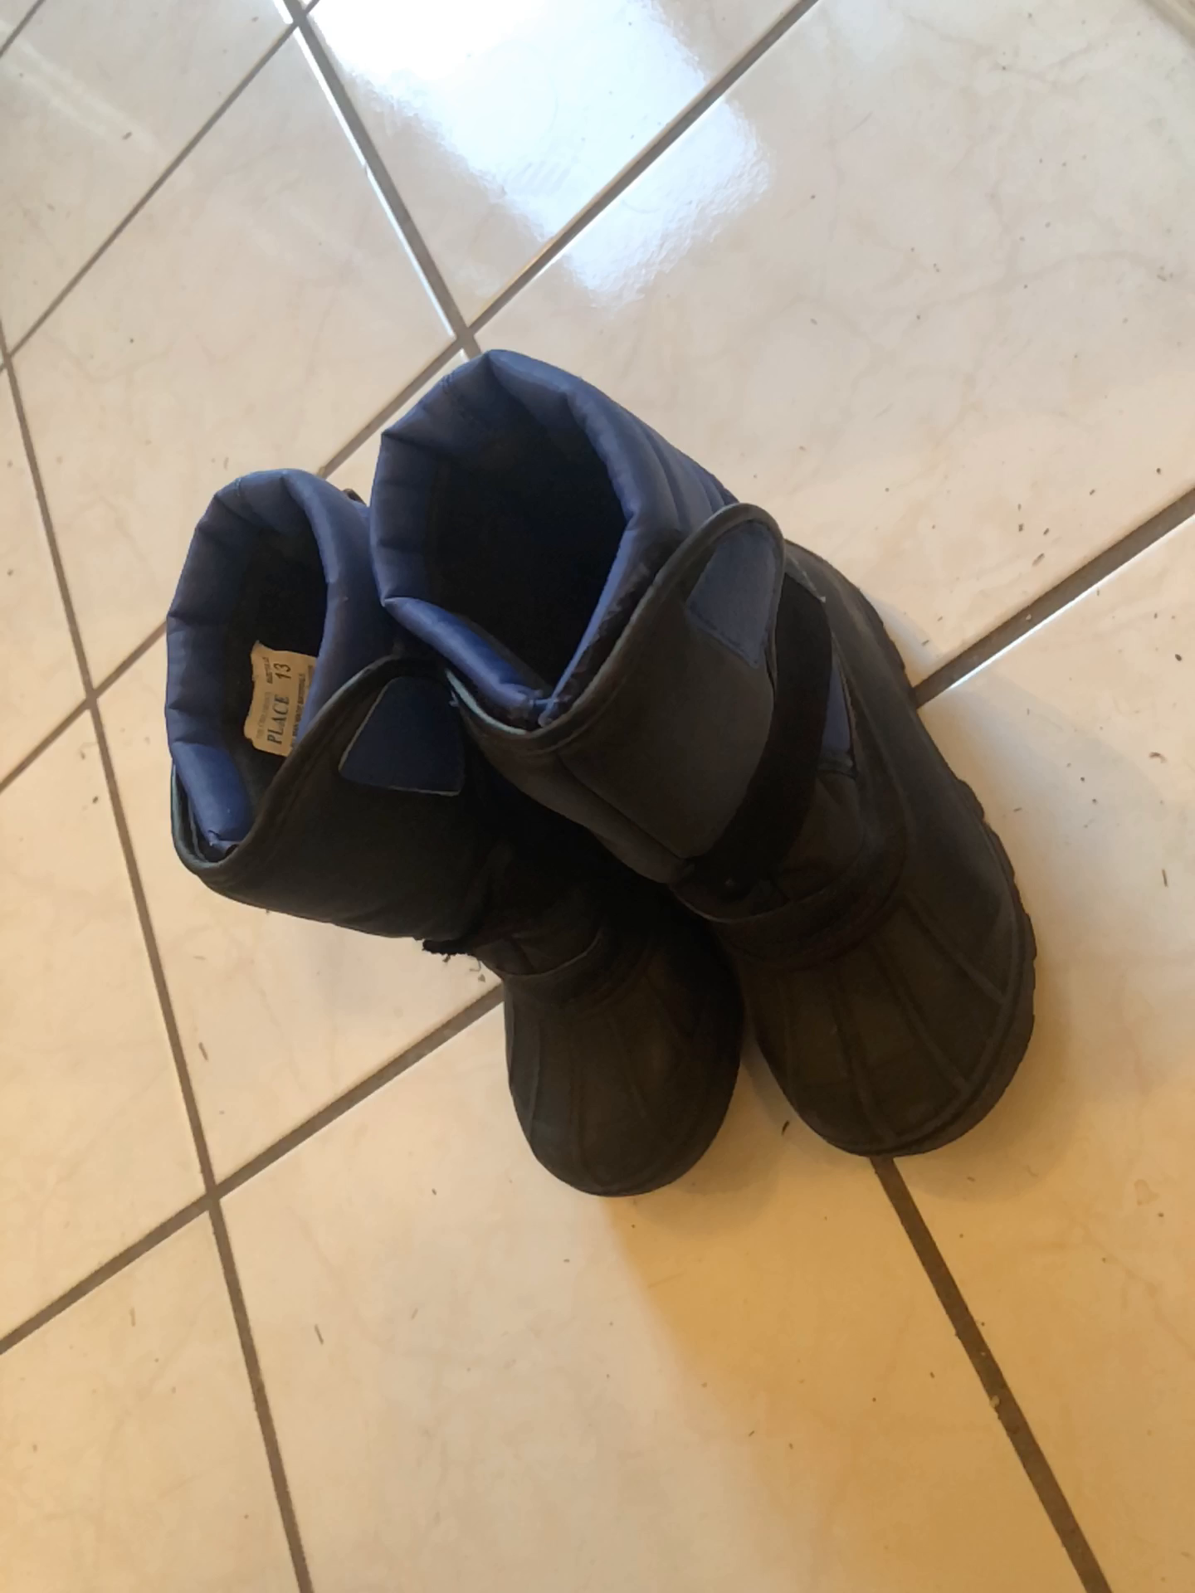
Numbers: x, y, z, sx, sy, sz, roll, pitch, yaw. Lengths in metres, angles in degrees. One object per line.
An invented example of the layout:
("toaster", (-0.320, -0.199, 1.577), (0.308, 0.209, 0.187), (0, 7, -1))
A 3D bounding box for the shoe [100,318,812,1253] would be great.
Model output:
("shoe", (-0.040, 0.014, 0.421), (0.100, 0.199, 0.231), (-20, 67, 30))

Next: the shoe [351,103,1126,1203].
("shoe", (0.044, -0.021, 0.388), (0.100, 0.199, 0.251), (-21, 66, 30))
